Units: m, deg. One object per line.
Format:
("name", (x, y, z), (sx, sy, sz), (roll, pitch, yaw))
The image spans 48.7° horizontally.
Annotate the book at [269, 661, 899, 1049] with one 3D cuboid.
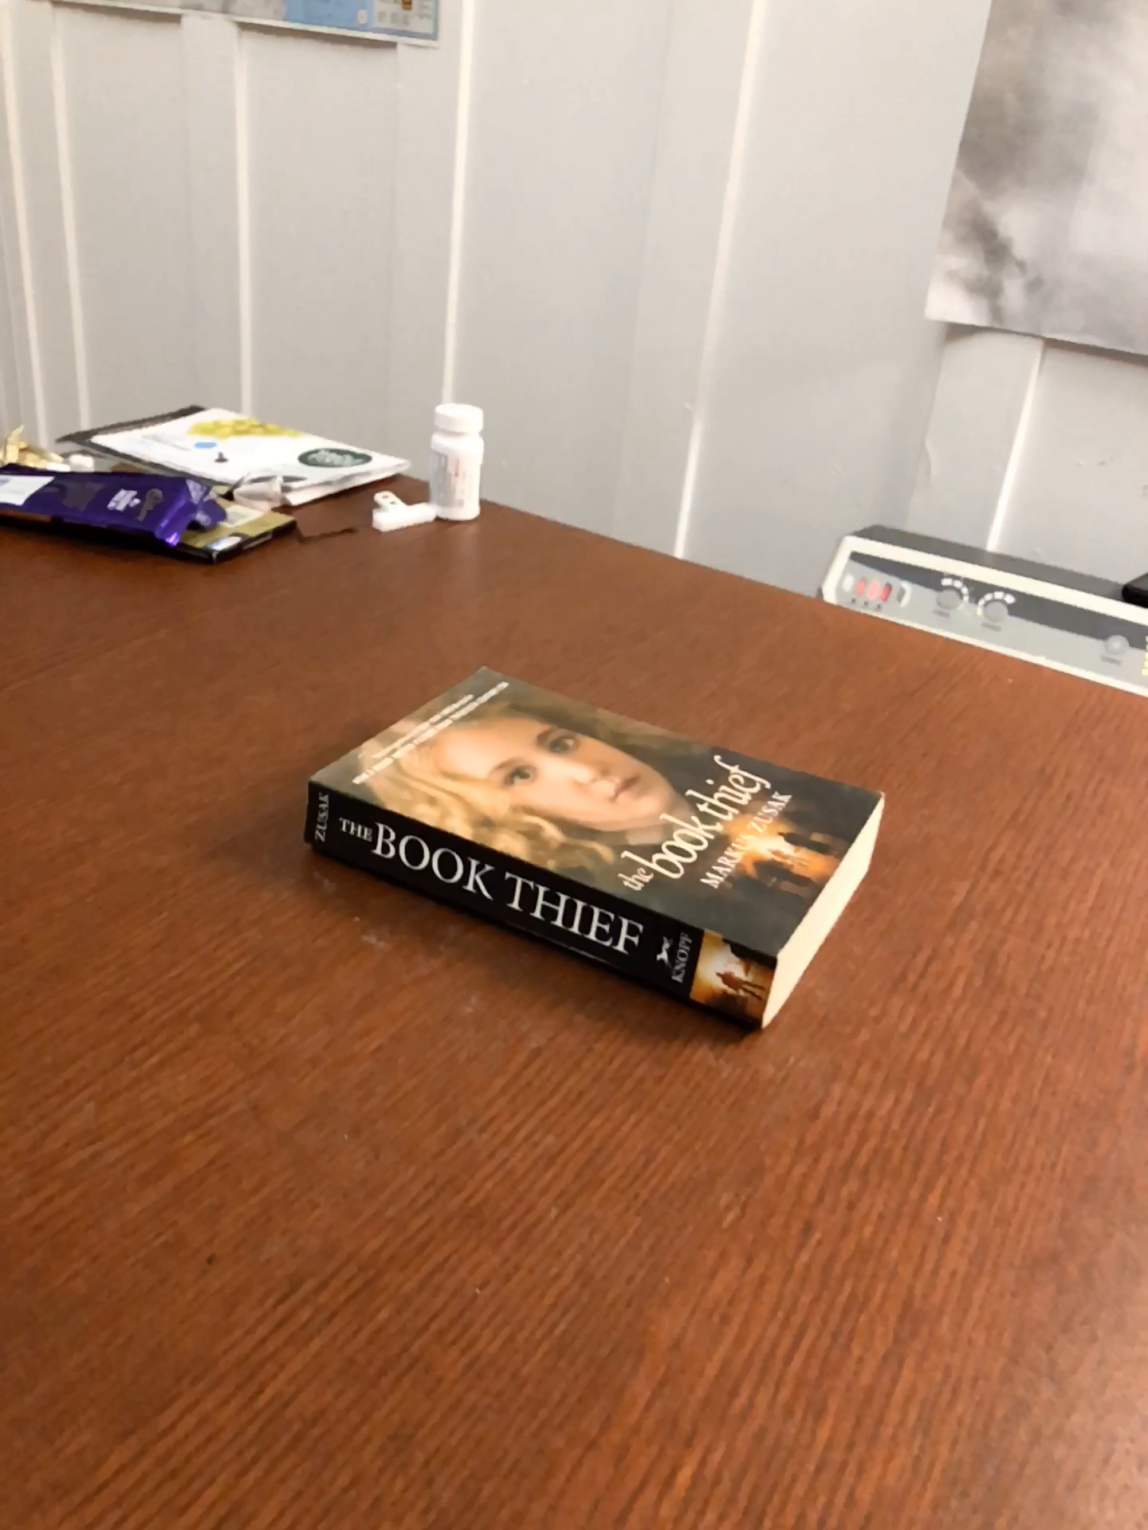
("book", (0.008, 0.024, 0.536), (0.220, 0.030, 0.151), (19, 31, 21))
